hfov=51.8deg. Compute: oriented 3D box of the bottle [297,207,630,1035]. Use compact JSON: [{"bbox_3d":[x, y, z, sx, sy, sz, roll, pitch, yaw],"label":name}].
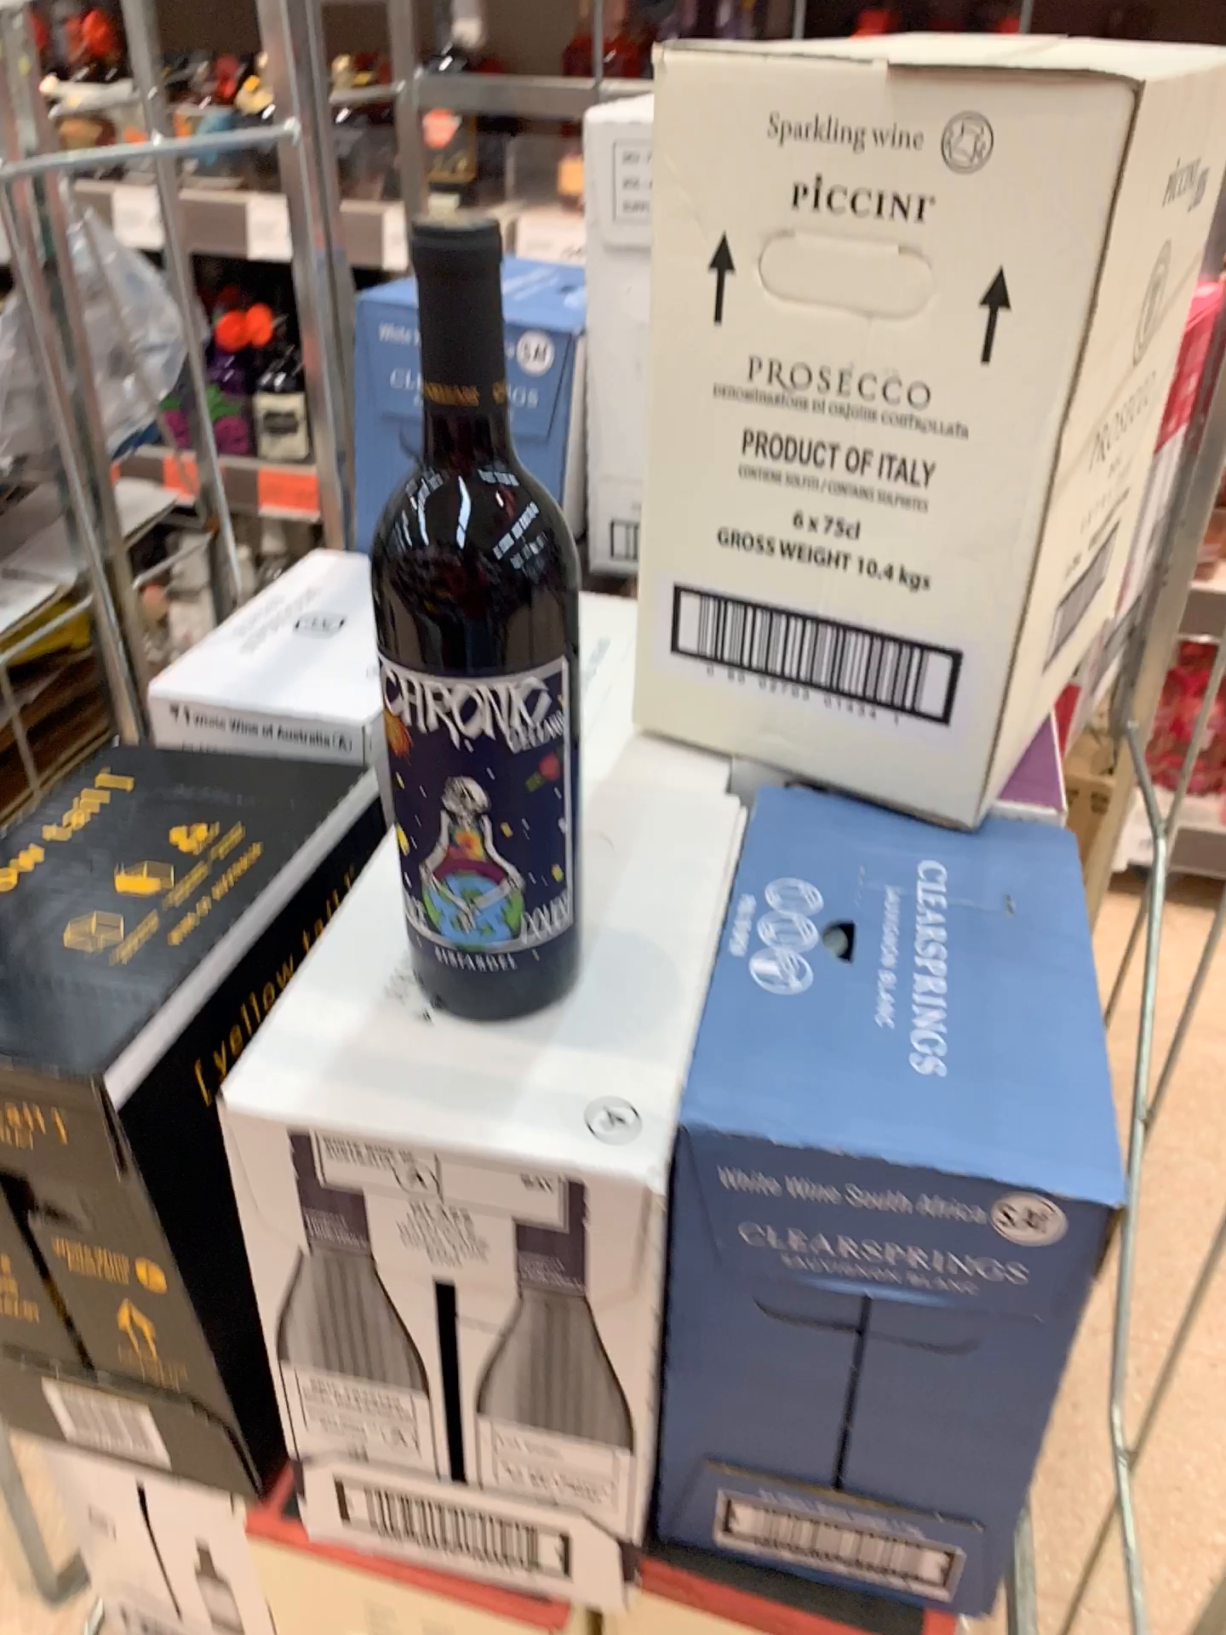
[{"bbox_3d":[-0.047,-0.061,0.465,0.085,0.284,0.085,2,32,-1],"label":"bottle"}]
